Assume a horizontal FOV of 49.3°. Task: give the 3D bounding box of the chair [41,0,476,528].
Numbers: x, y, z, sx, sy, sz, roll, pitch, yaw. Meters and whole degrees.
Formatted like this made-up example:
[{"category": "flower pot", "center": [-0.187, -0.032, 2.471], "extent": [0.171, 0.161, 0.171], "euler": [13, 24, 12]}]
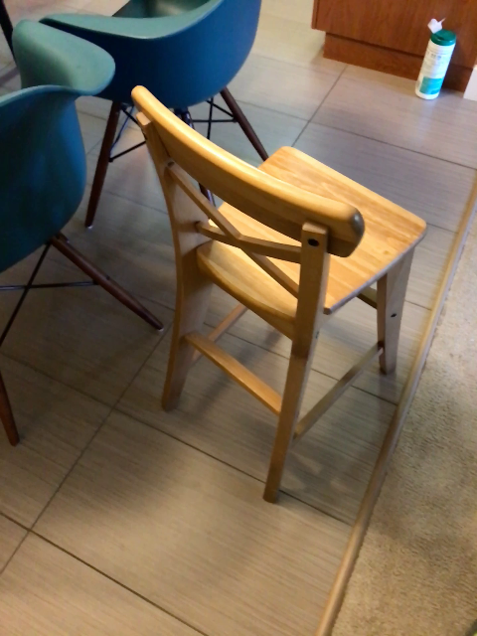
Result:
[{"category": "chair", "center": [0.110, -0.064, 0.913], "extent": [0.440, 0.686, 0.493], "euler": [34, 63, 24]}]
